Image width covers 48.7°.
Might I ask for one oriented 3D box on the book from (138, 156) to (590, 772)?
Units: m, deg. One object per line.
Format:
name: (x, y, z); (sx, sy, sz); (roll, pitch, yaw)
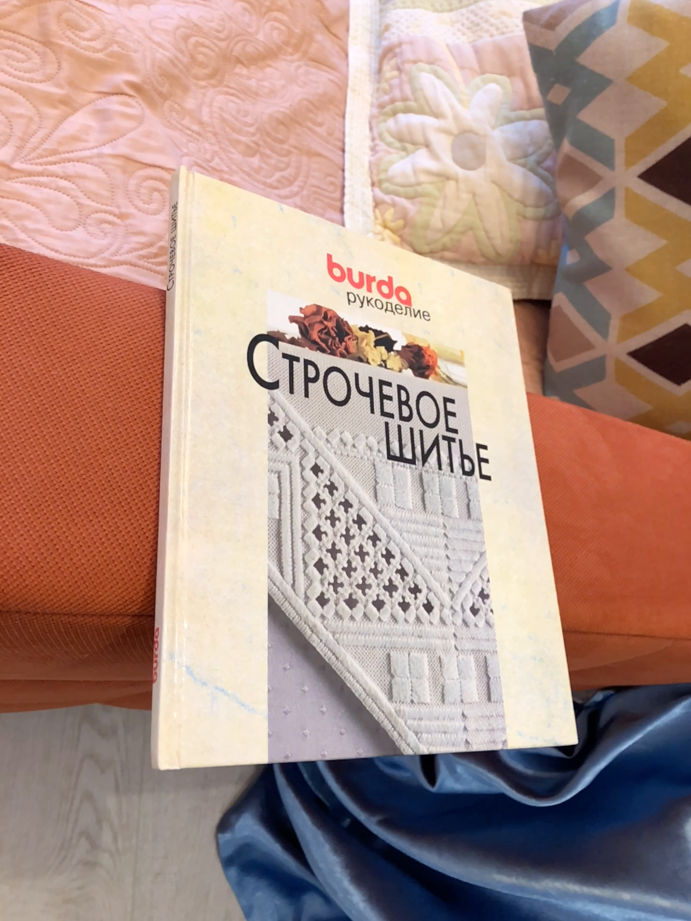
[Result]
book: (0.018, 0.003, 0.365); (0.216, 0.020, 0.258); (10, 67, -31)
